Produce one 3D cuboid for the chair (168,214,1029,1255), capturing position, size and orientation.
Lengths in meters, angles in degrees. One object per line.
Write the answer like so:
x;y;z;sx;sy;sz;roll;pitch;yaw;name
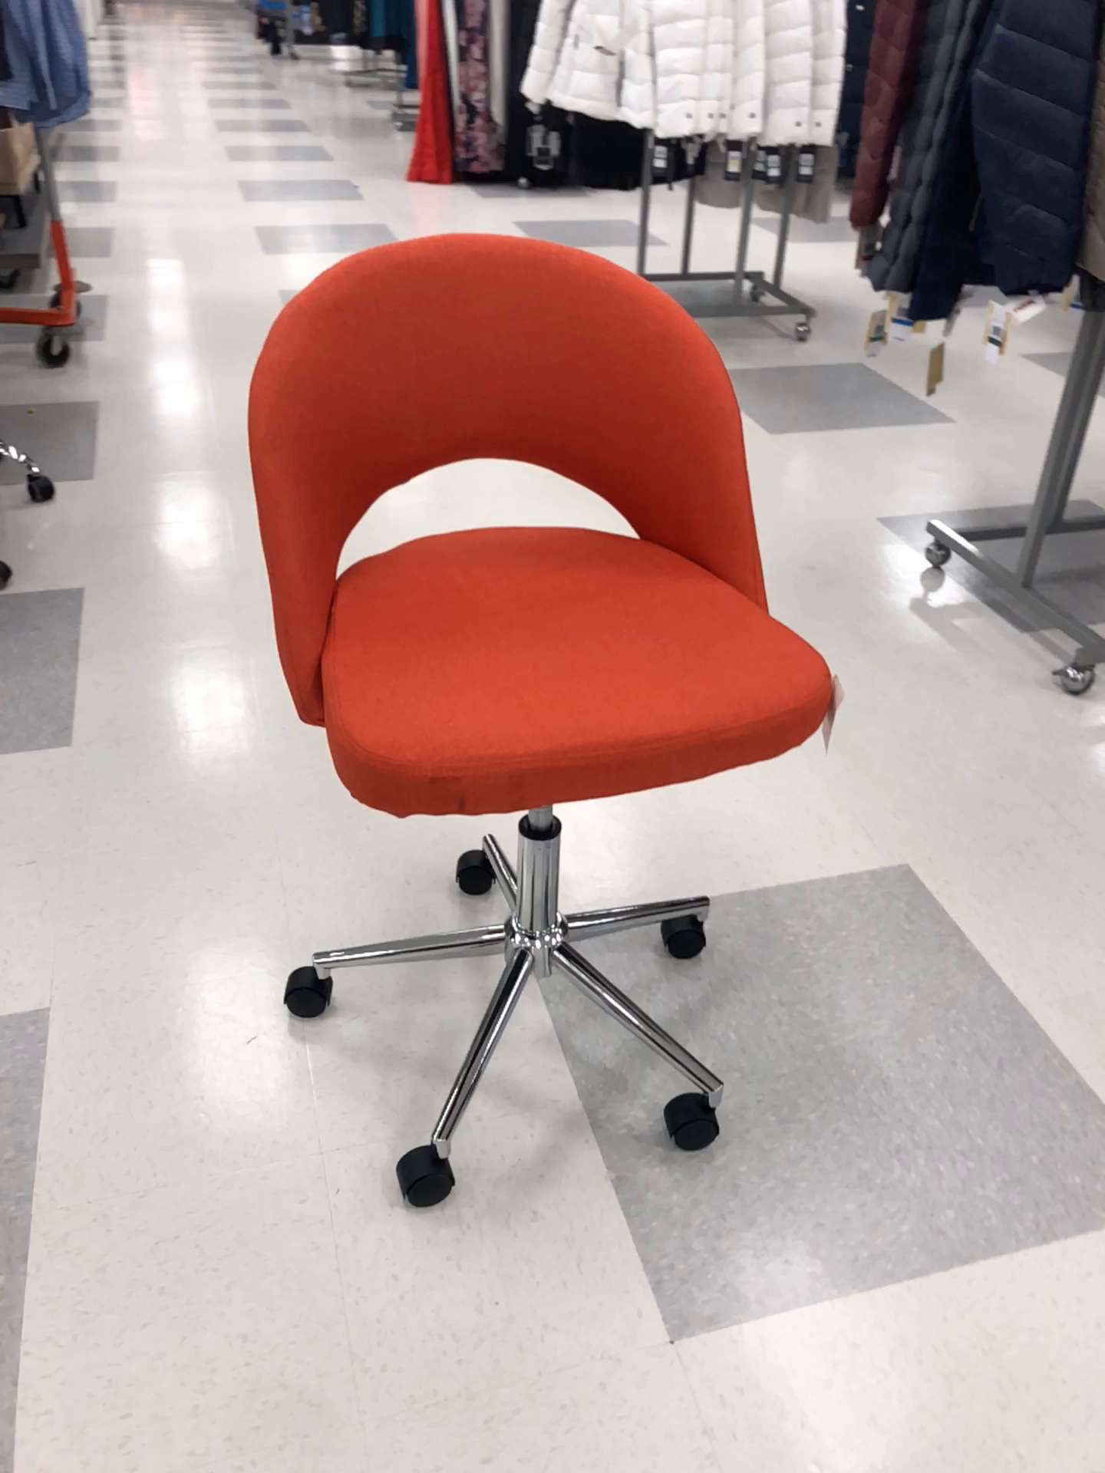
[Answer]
-0.029;-0.045;1.312;0.600;0.858;0.610;-8;34;-16;chair
